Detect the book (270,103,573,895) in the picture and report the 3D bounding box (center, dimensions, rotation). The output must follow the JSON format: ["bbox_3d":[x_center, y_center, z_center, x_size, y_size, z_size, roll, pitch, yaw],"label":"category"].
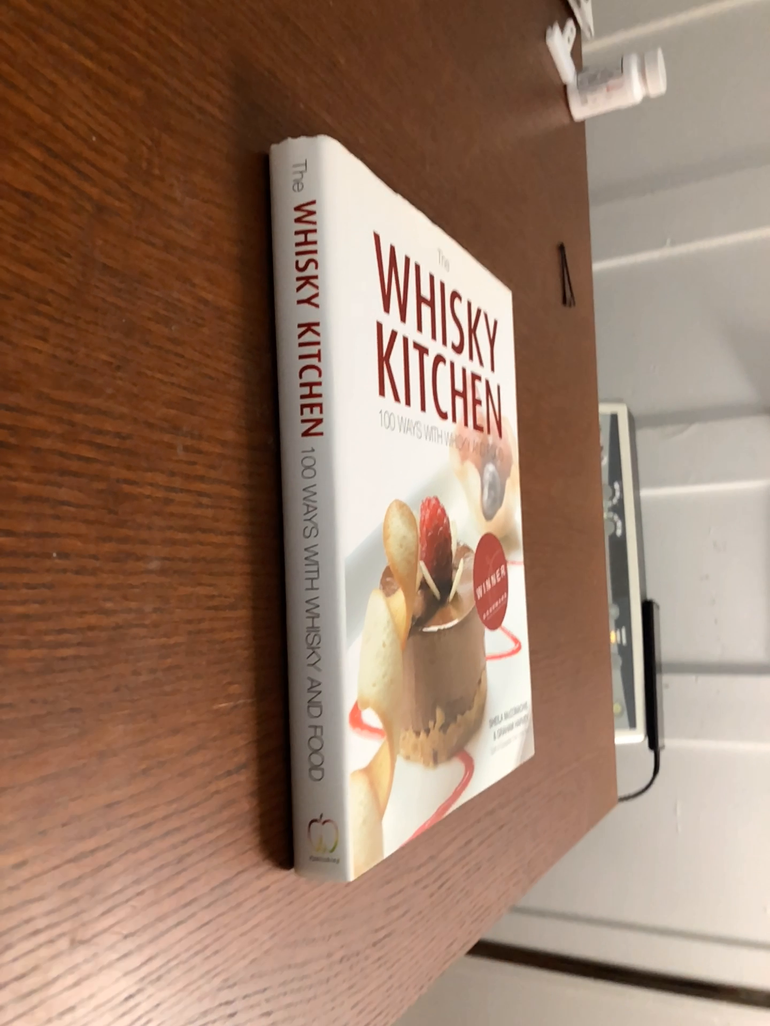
[{"bbox_3d":[0.031,-0.003,0.396,0.221,0.040,0.270,5,81,-62],"label":"book"}]
